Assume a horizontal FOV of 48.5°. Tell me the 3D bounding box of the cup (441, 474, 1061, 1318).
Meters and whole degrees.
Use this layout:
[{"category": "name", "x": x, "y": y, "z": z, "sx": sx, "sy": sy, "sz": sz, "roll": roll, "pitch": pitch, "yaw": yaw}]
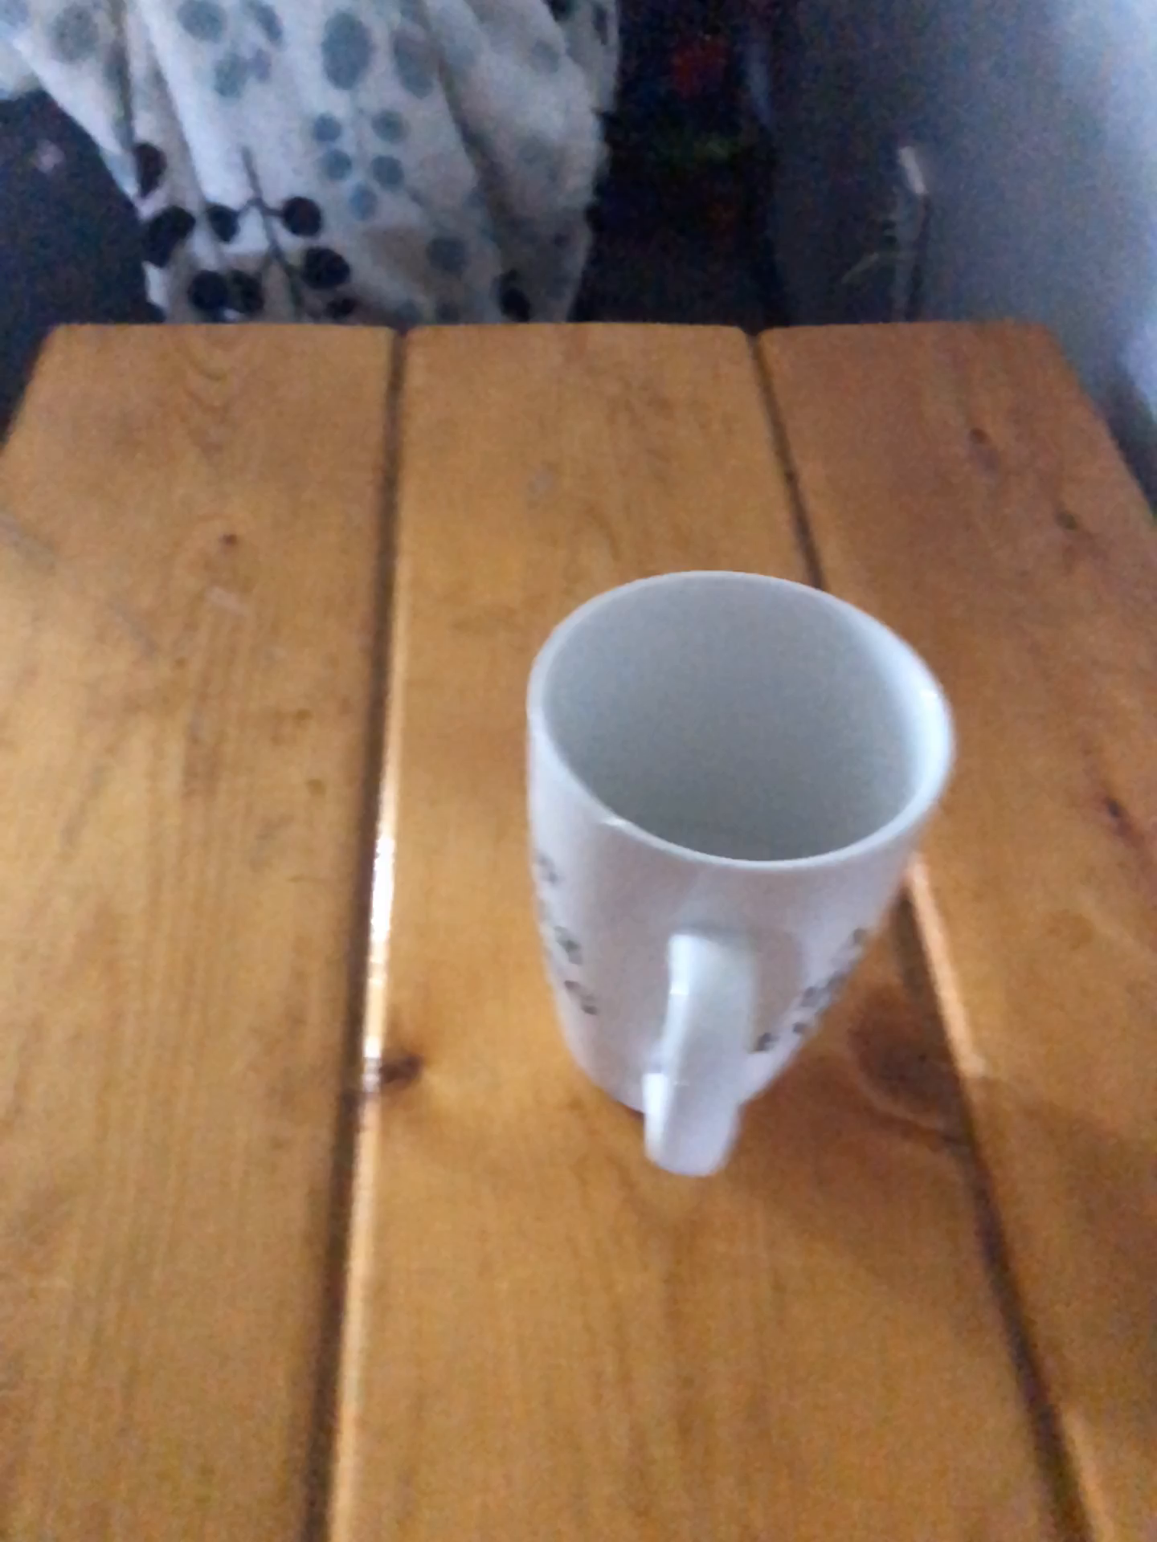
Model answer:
[{"category": "cup", "x": 0.037, "y": 0.027, "z": 0.298, "sx": 0.100, "sy": 0.120, "sz": 0.140, "roll": 7, "pitch": 49, "yaw": 5}]
